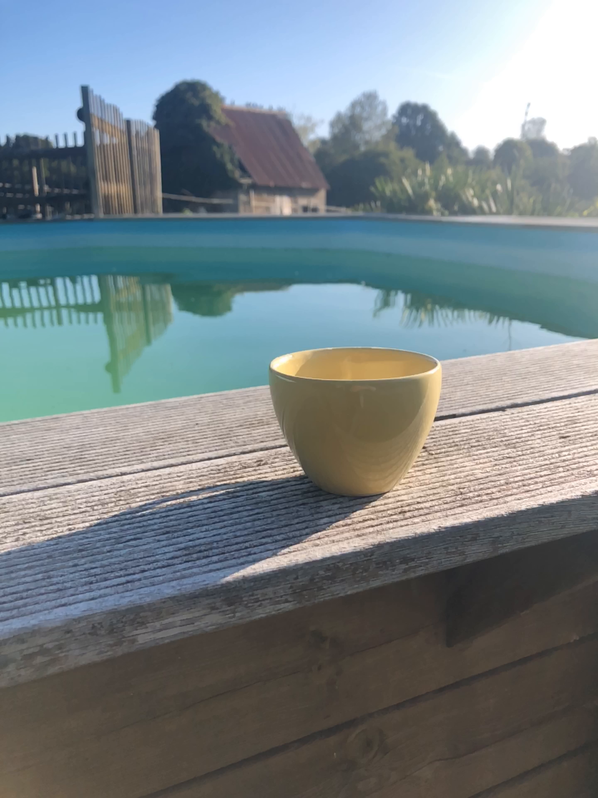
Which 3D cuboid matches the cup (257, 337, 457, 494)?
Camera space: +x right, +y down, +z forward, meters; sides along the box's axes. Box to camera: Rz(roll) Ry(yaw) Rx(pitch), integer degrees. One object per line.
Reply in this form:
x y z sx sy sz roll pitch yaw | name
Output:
0.031 0.003 0.355 0.089 0.053 0.112 0 15 6 | cup
